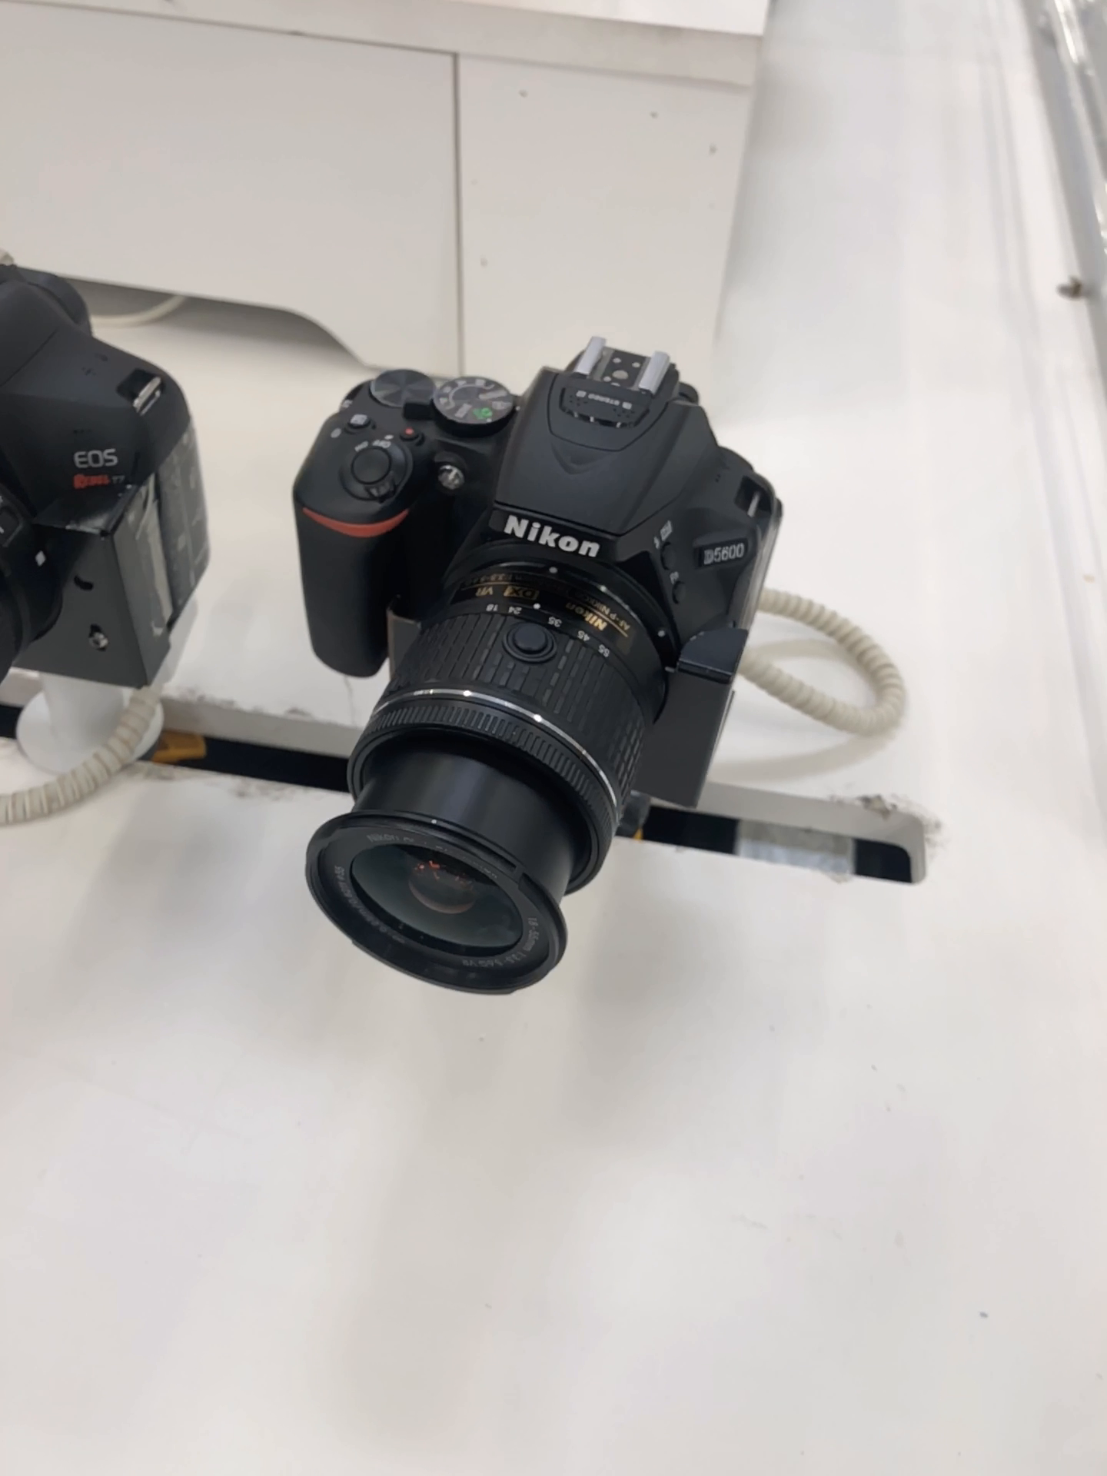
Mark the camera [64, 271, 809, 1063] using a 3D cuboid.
[{"bbox_3d":[-0.015,-0.024,0.296,0.120,0.089,0.151,12,49,6],"label":"camera"}]
